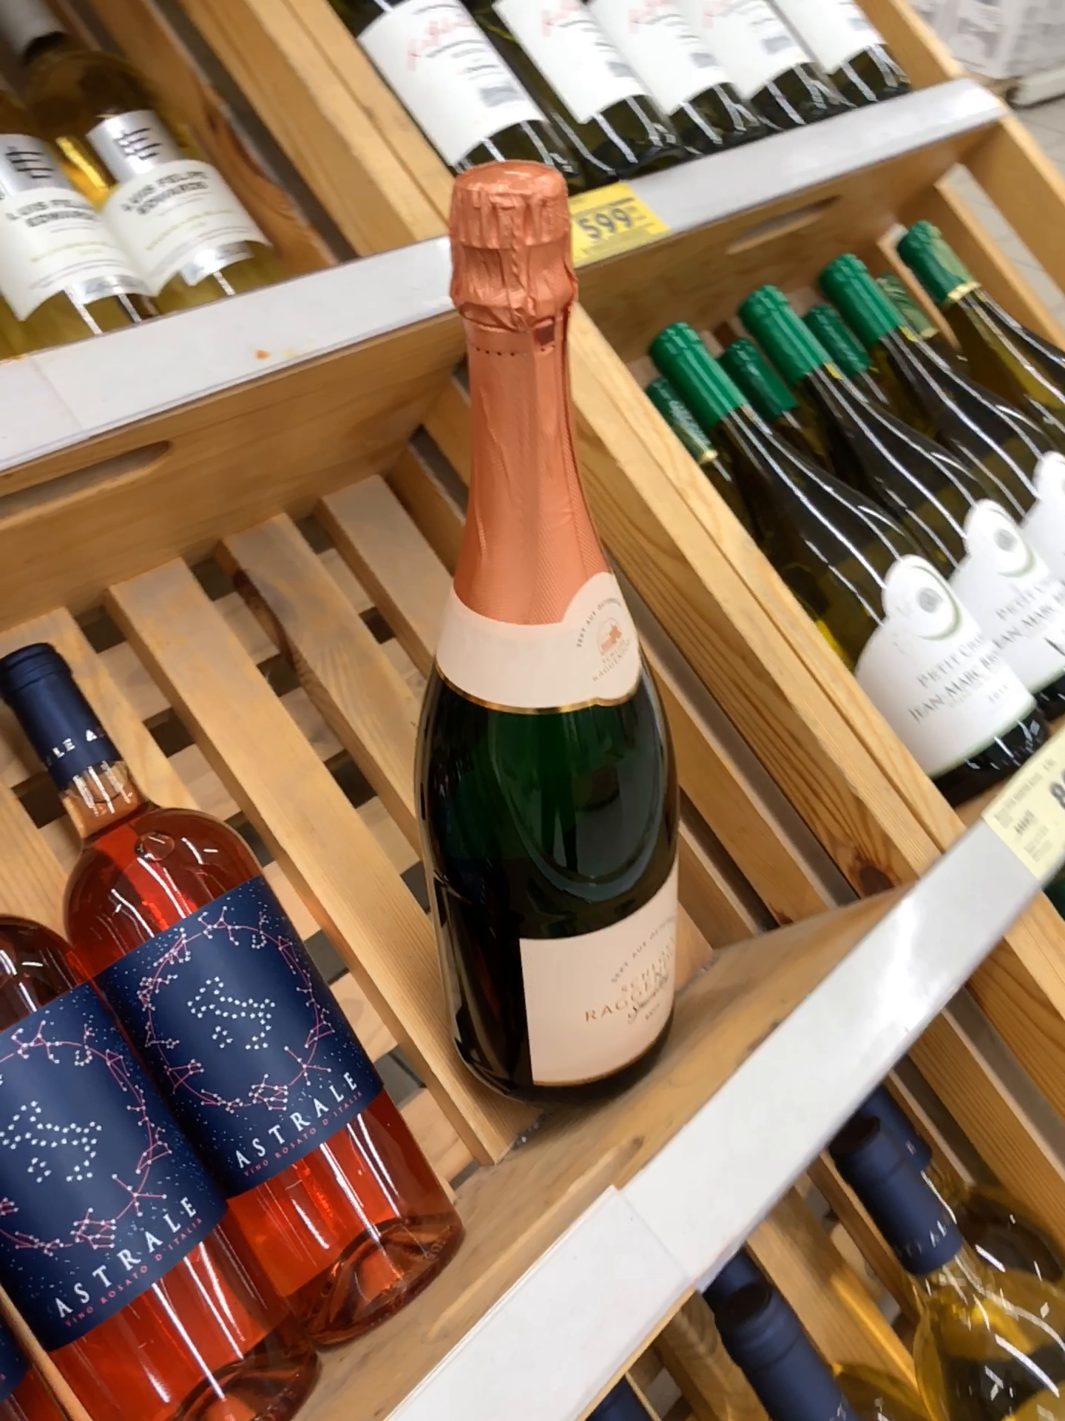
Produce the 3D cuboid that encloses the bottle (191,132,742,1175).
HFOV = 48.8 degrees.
[{"bbox_3d":[-0.006,-0.009,0.442,0.110,0.358,0.120,-3,33,2],"label":"bottle"}]
